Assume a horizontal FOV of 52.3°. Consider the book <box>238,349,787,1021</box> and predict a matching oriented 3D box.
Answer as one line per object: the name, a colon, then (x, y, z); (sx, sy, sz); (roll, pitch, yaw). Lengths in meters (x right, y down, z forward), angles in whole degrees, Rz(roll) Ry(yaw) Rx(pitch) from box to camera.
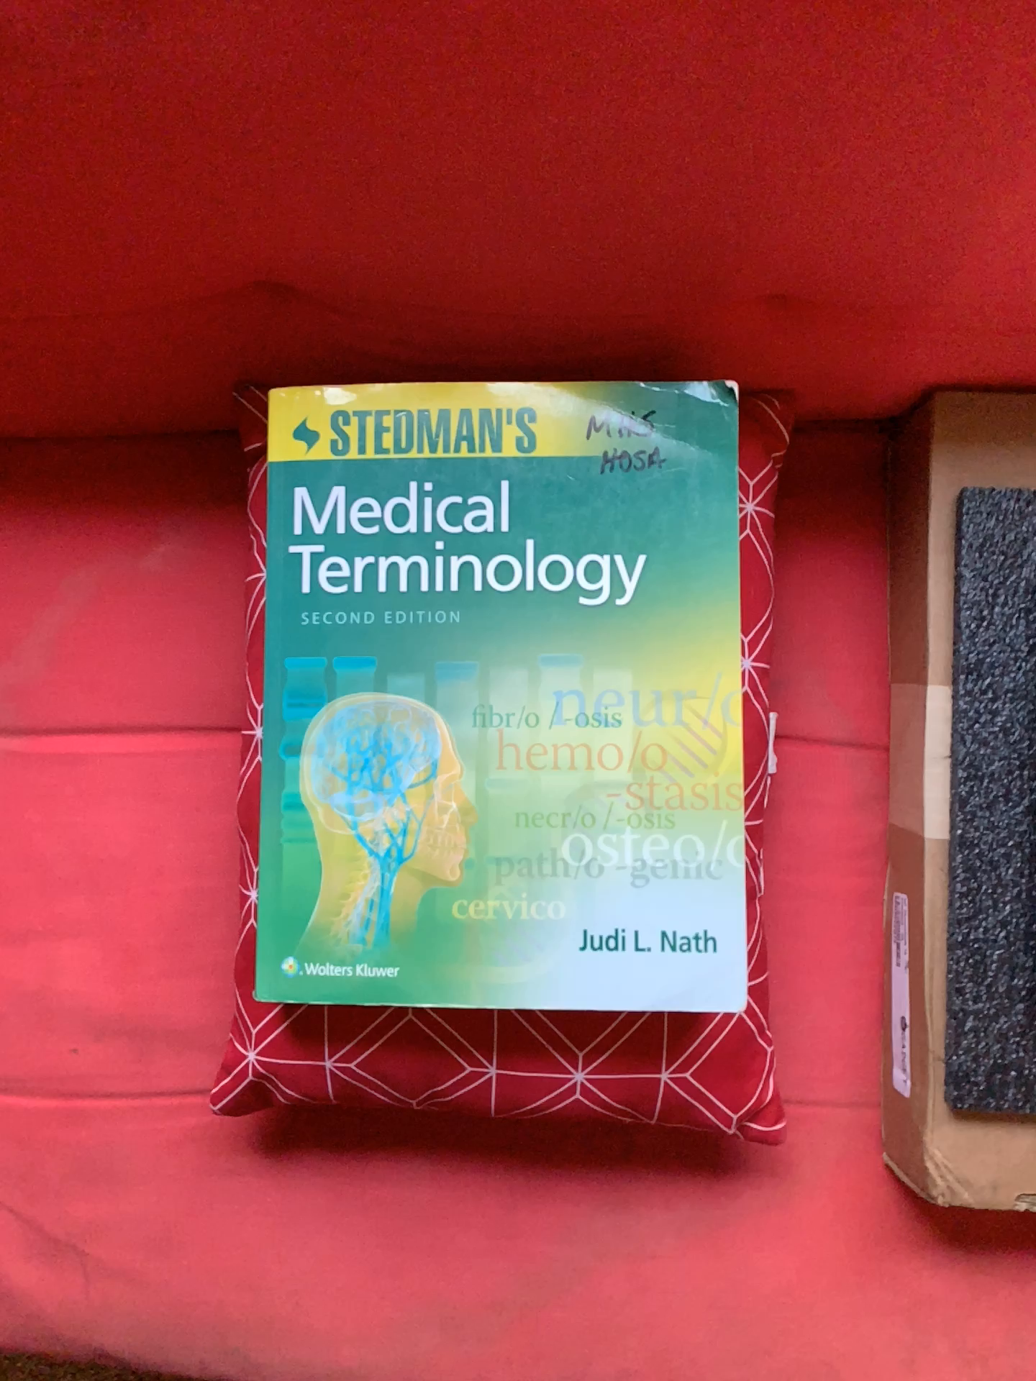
book: (-0.002, -0.005, 0.492); (0.240, 0.040, 0.300); (0, 86, 1)
